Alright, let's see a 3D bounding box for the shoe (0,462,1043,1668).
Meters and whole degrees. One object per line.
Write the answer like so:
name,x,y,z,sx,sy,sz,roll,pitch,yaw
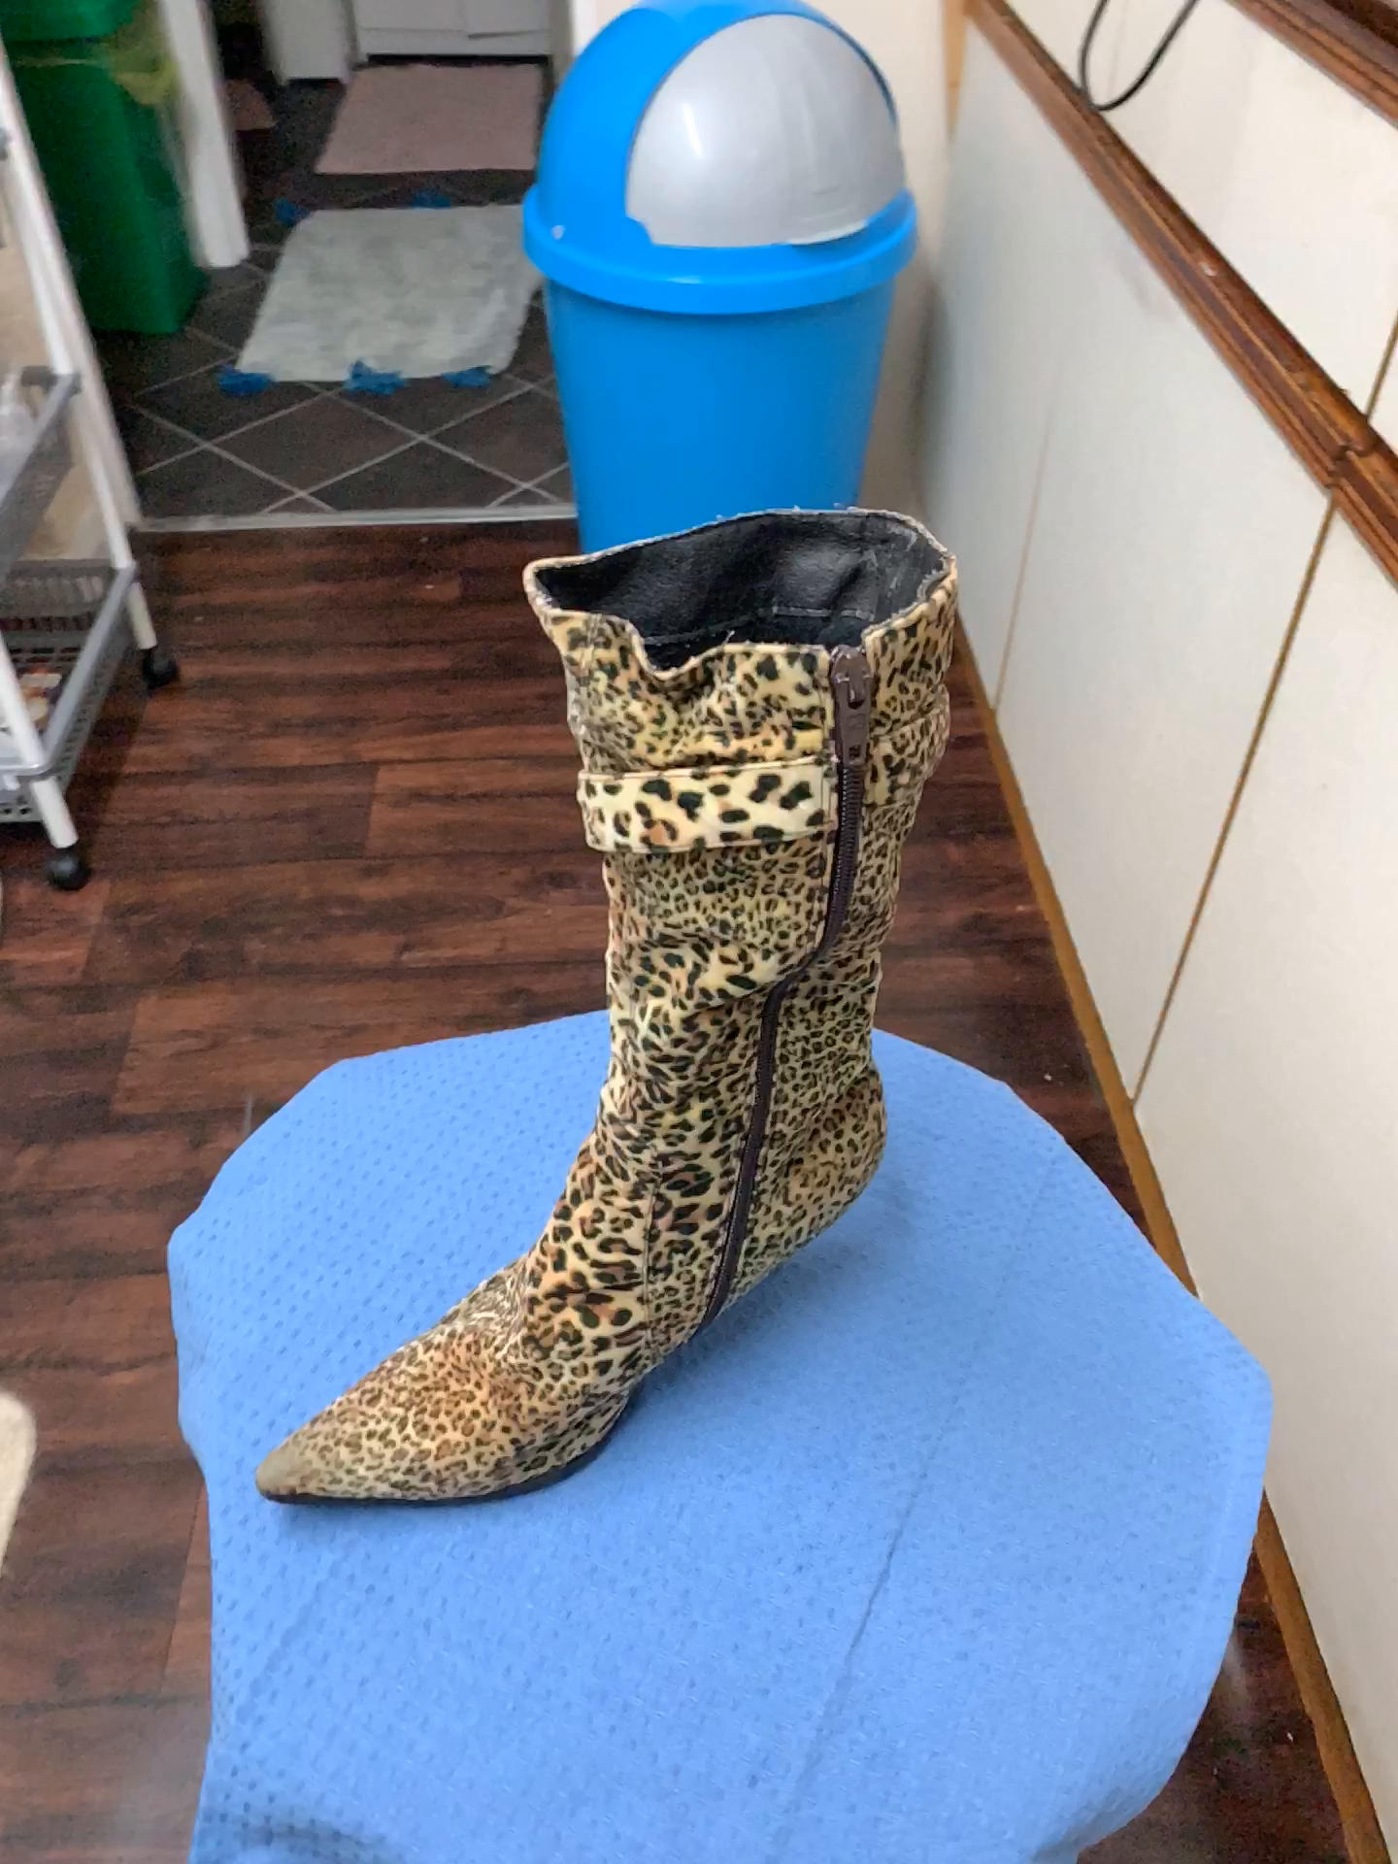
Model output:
shoe,-0.050,0.061,0.469,0.261,0.347,0.101,-23,49,-22
